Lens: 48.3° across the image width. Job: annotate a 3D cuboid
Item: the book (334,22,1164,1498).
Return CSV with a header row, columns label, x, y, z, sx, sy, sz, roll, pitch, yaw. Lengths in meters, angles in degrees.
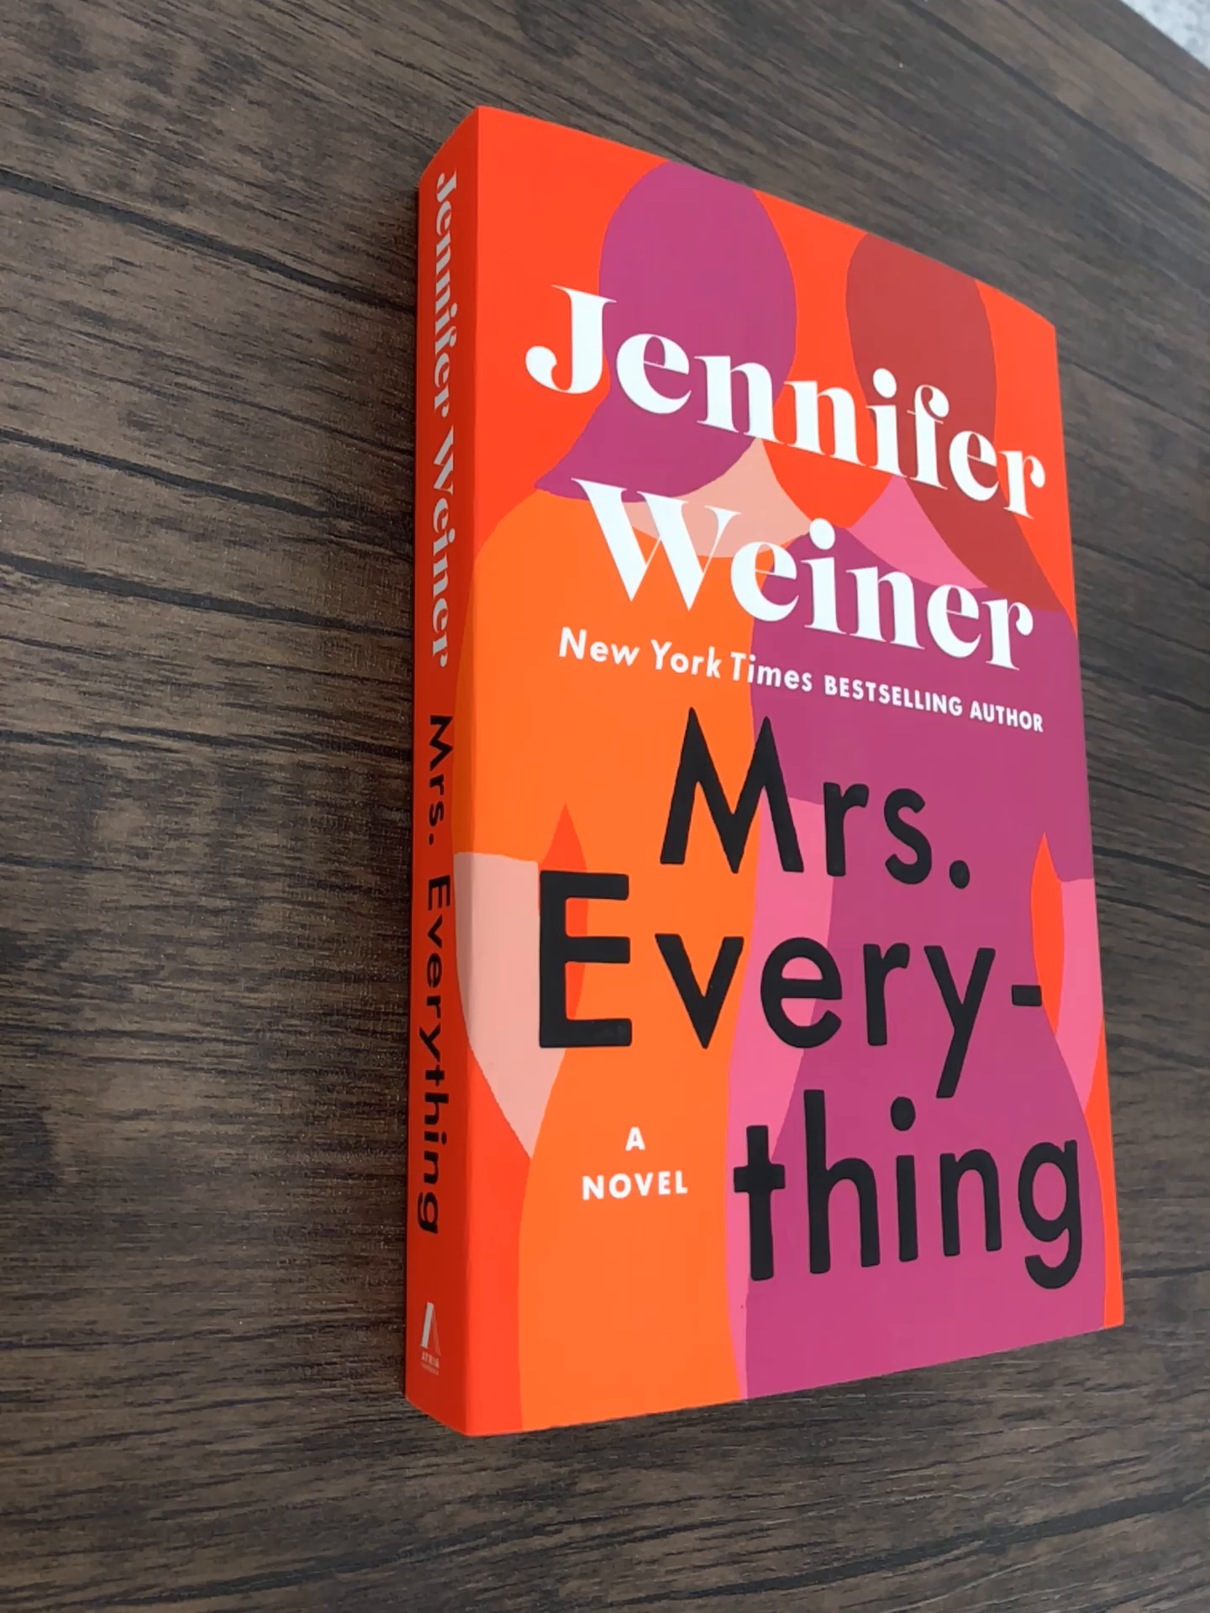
label,x,y,z,sx,sy,sz,roll,pitch,yaw
book,0.034,-0.007,0.271,0.162,0.046,0.232,6,79,-33
